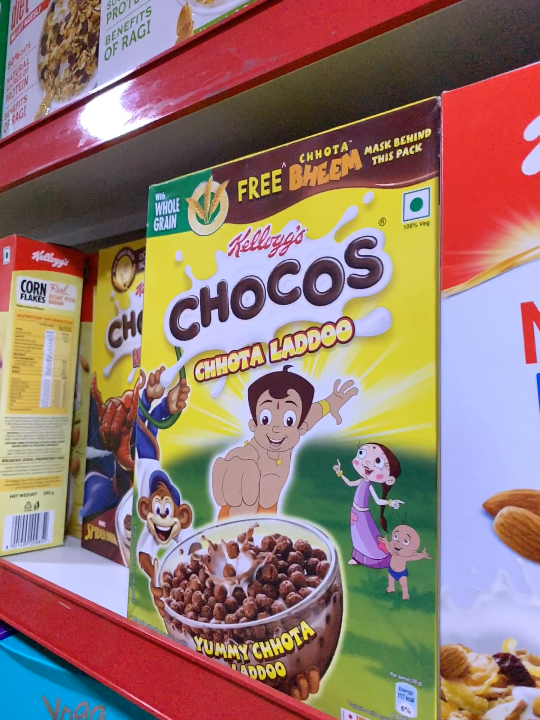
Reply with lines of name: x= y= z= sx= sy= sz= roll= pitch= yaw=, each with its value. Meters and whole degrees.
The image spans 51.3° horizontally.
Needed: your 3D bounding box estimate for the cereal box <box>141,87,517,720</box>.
cereal box: x=0.024 y=0.026 z=0.294 sx=0.180 sy=0.260 sz=0.070 roll=-1 pitch=-5 yaw=40
